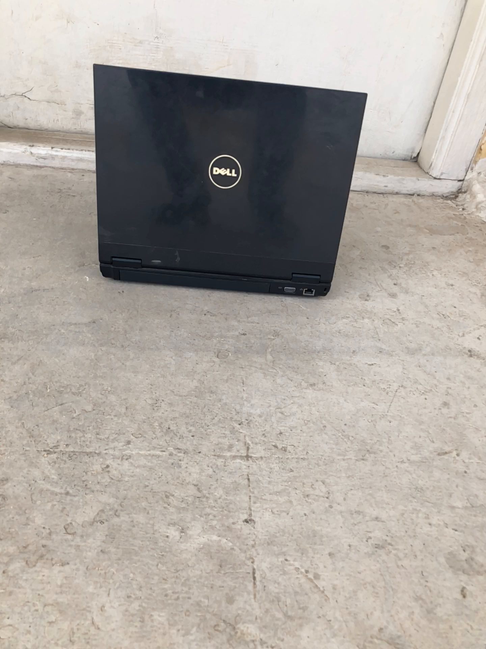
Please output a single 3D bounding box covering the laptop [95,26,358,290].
[{"bbox_3d":[-0.023,-0.227,0.727,0.279,0.251,0.225,4,40,-2],"label":"laptop"}]
